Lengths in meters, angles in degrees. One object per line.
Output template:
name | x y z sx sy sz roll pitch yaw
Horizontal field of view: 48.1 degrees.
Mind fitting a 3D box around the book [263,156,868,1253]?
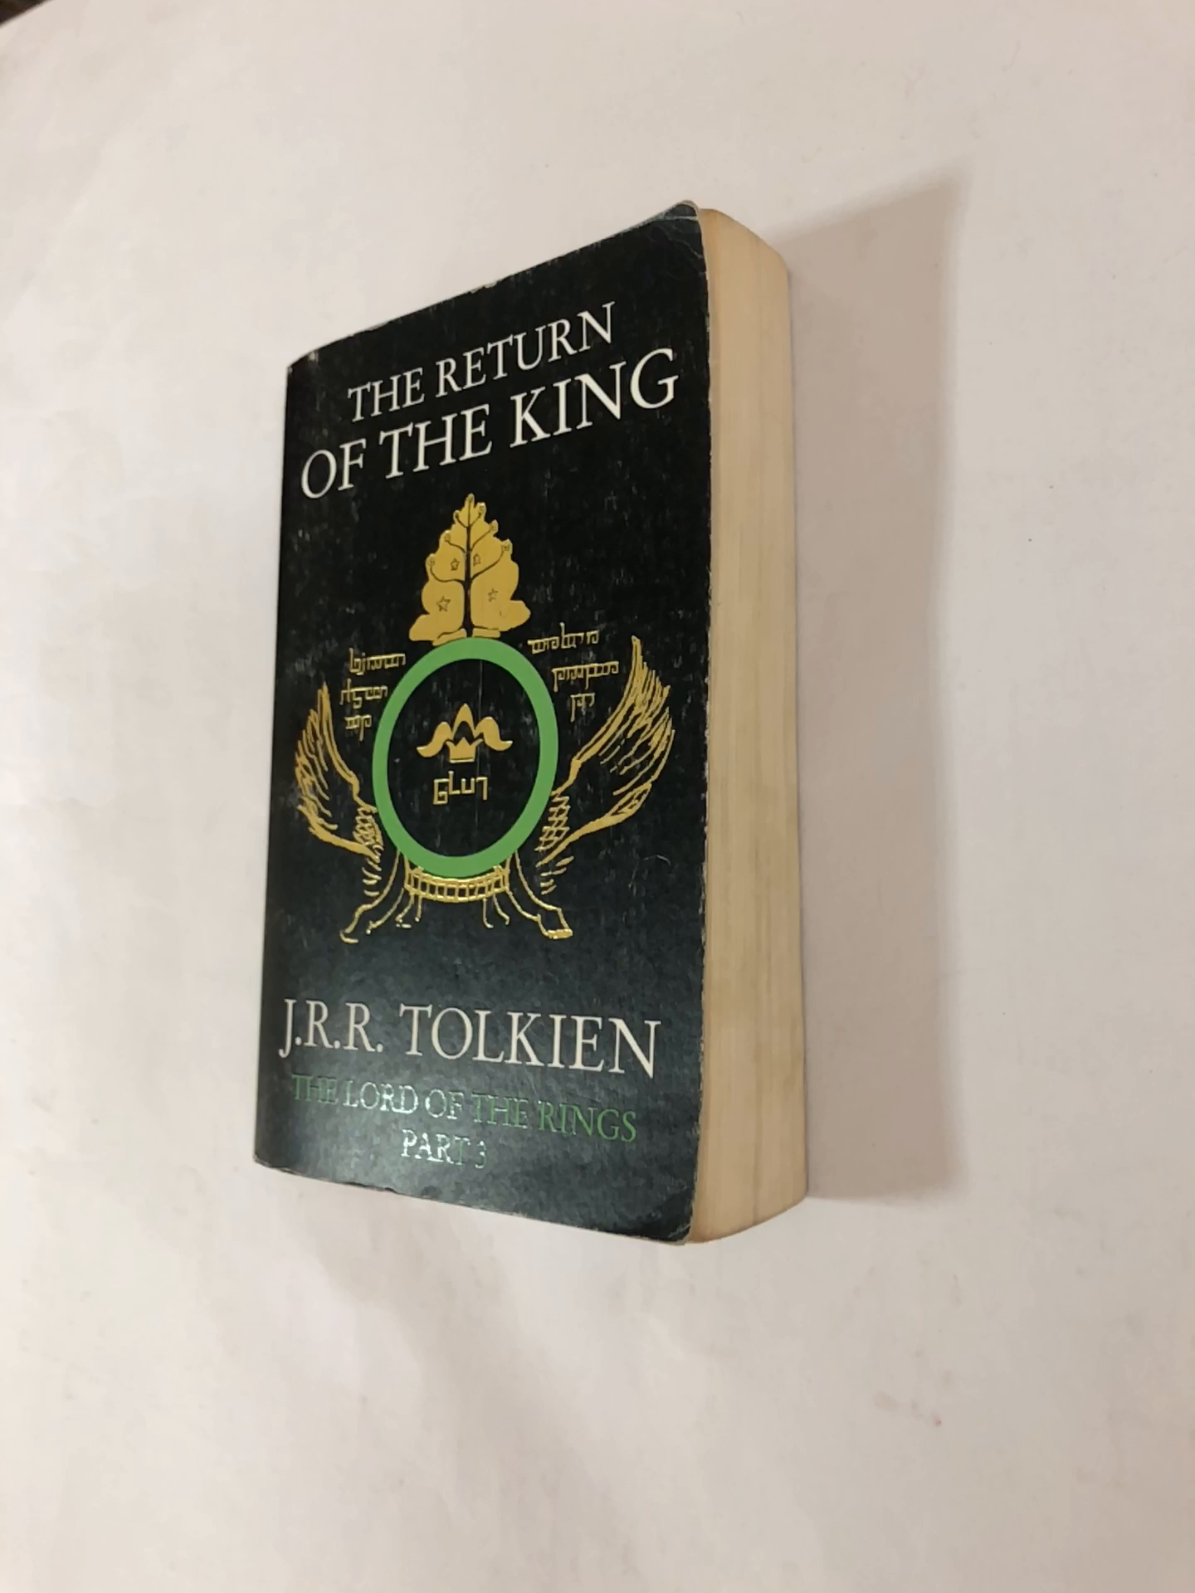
book | -0.010 -0.015 0.294 0.131 0.040 0.200 -4 81 36
